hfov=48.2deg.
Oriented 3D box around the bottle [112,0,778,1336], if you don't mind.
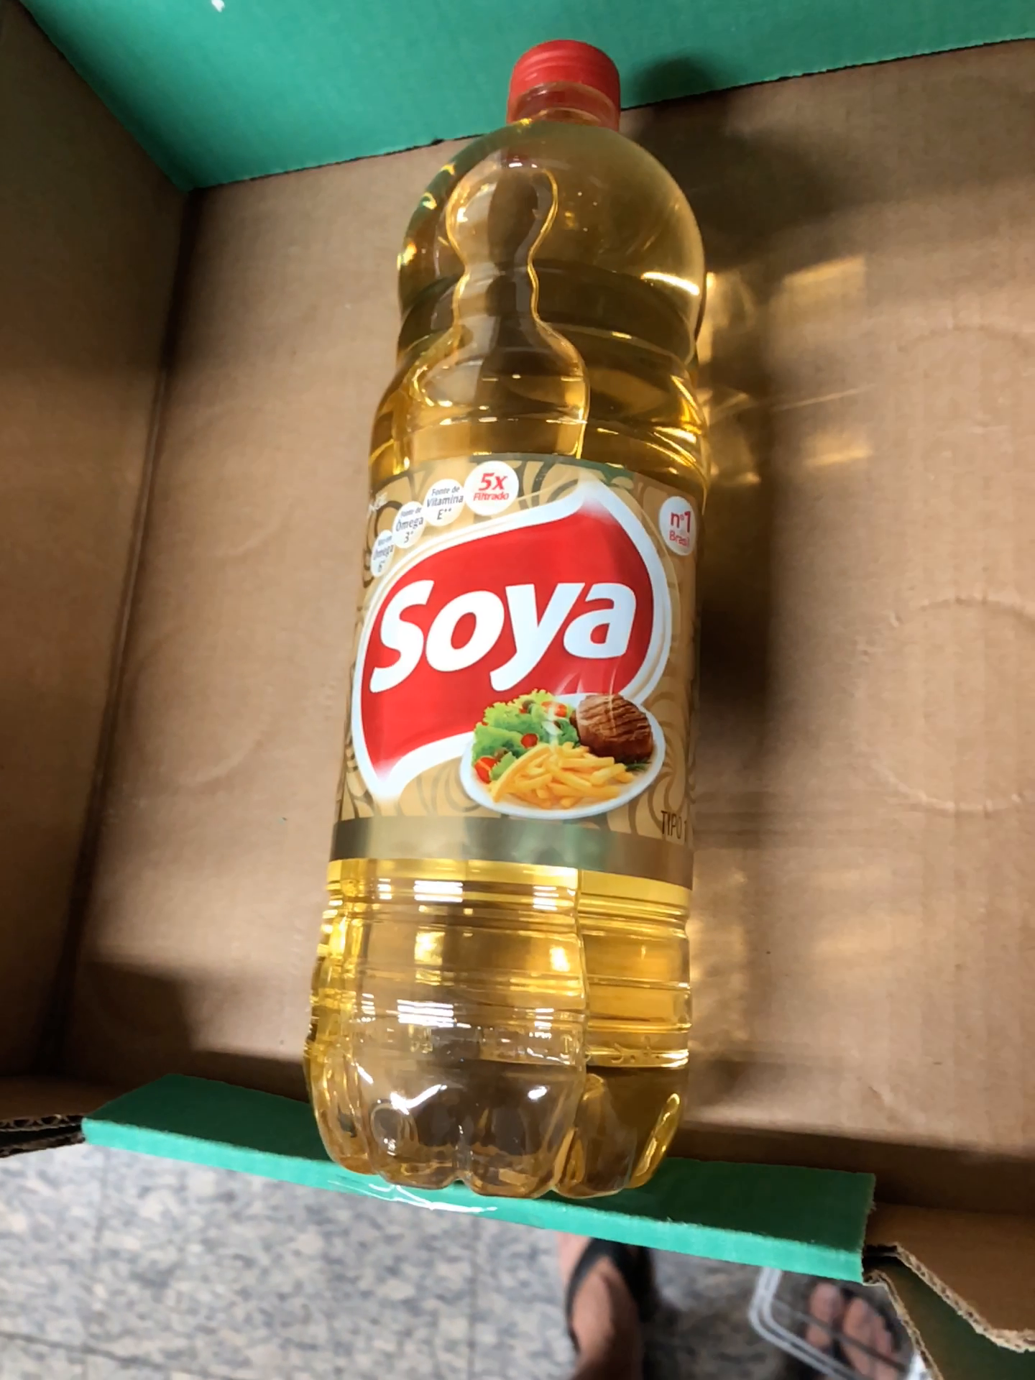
[{"bbox_3d":[-0.002,-0.016,0.210,0.080,0.070,0.210,1,79,20],"label":"bottle"}]
